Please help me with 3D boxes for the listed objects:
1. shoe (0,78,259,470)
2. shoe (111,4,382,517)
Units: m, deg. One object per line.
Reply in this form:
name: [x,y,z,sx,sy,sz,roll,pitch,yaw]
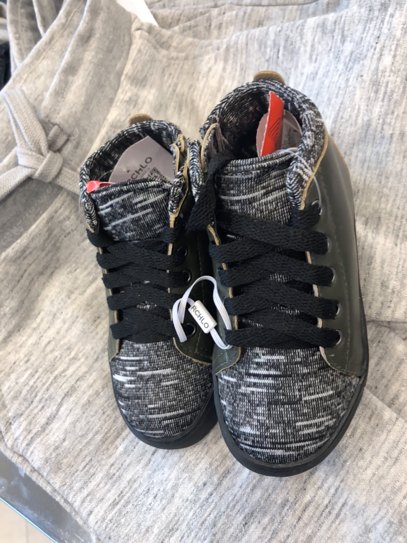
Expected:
shoe: [-0.025,0.005,0.233,0.080,0.090,0.160,-1,73,20]
shoe: [0.027,-0.002,0.197,0.080,0.090,0.170,-4,72,19]
